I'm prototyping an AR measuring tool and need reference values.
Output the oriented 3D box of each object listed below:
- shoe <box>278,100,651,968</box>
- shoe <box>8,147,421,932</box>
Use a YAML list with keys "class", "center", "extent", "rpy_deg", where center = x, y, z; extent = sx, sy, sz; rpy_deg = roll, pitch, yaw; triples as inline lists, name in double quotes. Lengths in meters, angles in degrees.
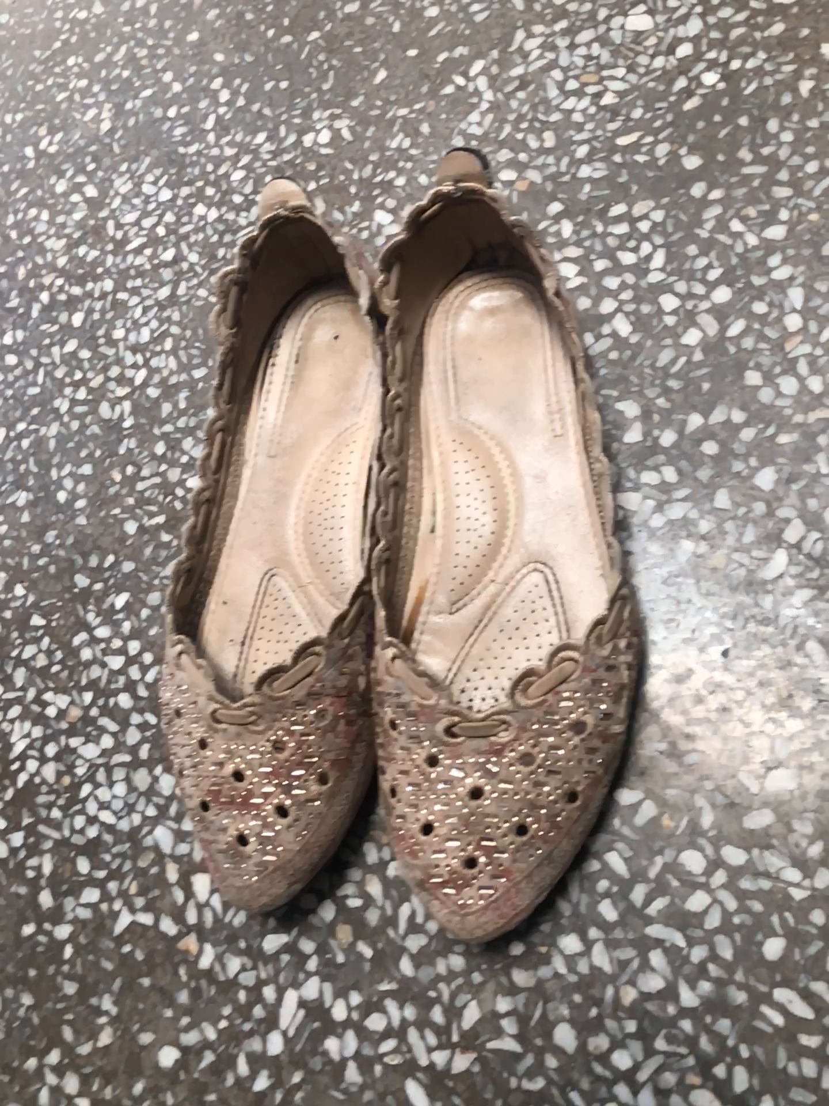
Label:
- class: "shoe"
  center: [0.019, -0.010, 0.297]
  extent: [0.089, 0.068, 0.255]
  rpy_deg: [-5, 70, 17]
- class: "shoe"
  center: [-0.059, -0.009, 0.327]
  extent: [0.089, 0.068, 0.255]
  rpy_deg: [-2, 71, 18]
